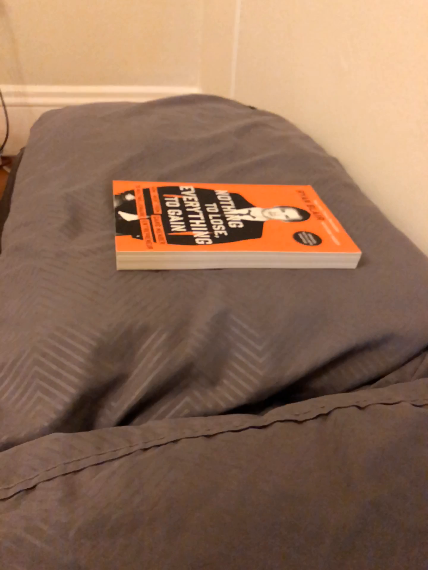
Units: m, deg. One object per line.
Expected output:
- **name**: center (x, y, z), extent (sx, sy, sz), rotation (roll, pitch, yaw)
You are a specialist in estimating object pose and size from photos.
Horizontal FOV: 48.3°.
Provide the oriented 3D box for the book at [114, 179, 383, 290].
- **book**: center (0.022, -0.053, 0.457), extent (0.230, 0.020, 0.151), rotation (-1, 40, -12)
